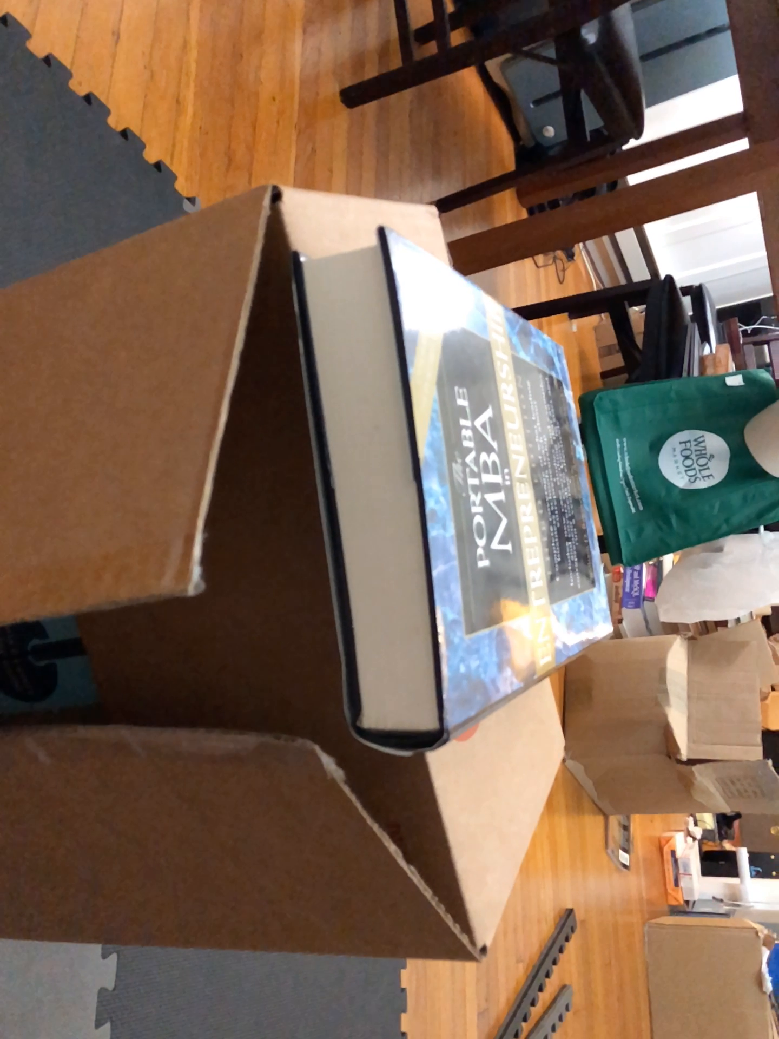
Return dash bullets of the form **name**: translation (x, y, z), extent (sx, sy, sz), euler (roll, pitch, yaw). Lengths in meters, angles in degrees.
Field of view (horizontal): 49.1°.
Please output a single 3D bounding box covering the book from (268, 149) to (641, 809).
- **book**: translation (0.055, -0.014, 0.405), extent (0.271, 0.060, 0.210), euler (-3, 84, -66)
